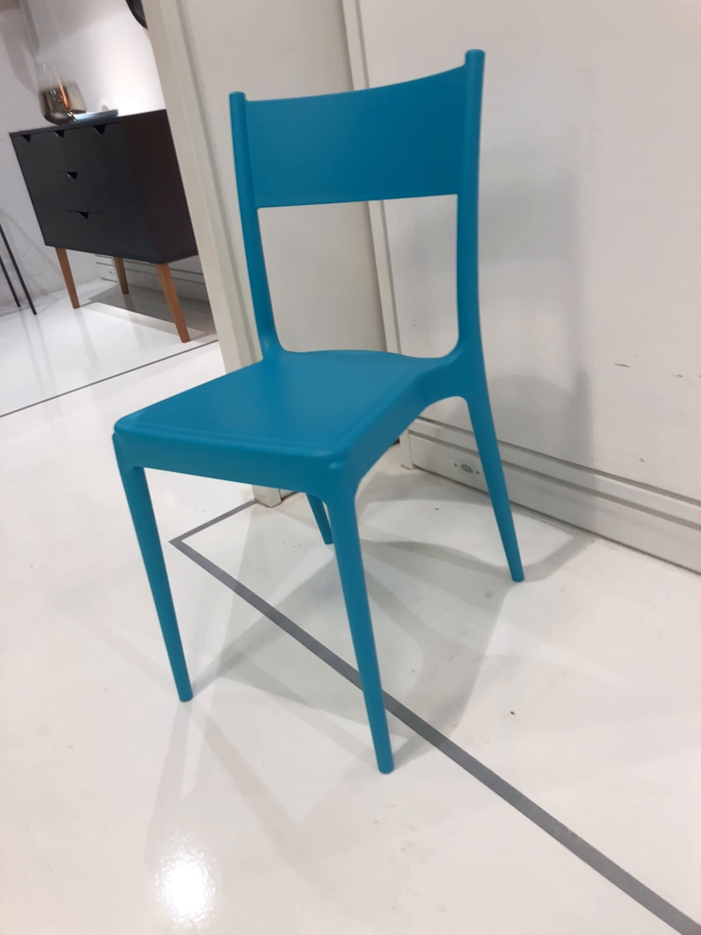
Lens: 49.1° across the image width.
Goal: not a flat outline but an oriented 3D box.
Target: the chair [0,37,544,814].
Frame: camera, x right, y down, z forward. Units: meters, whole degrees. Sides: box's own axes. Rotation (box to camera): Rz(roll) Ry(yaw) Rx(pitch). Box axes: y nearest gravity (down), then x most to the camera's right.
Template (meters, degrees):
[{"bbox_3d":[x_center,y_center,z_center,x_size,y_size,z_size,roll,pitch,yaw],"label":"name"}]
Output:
[{"bbox_3d":[-0.054,-0.087,1.041,0.431,0.794,0.513,8,30,33],"label":"chair"}]
